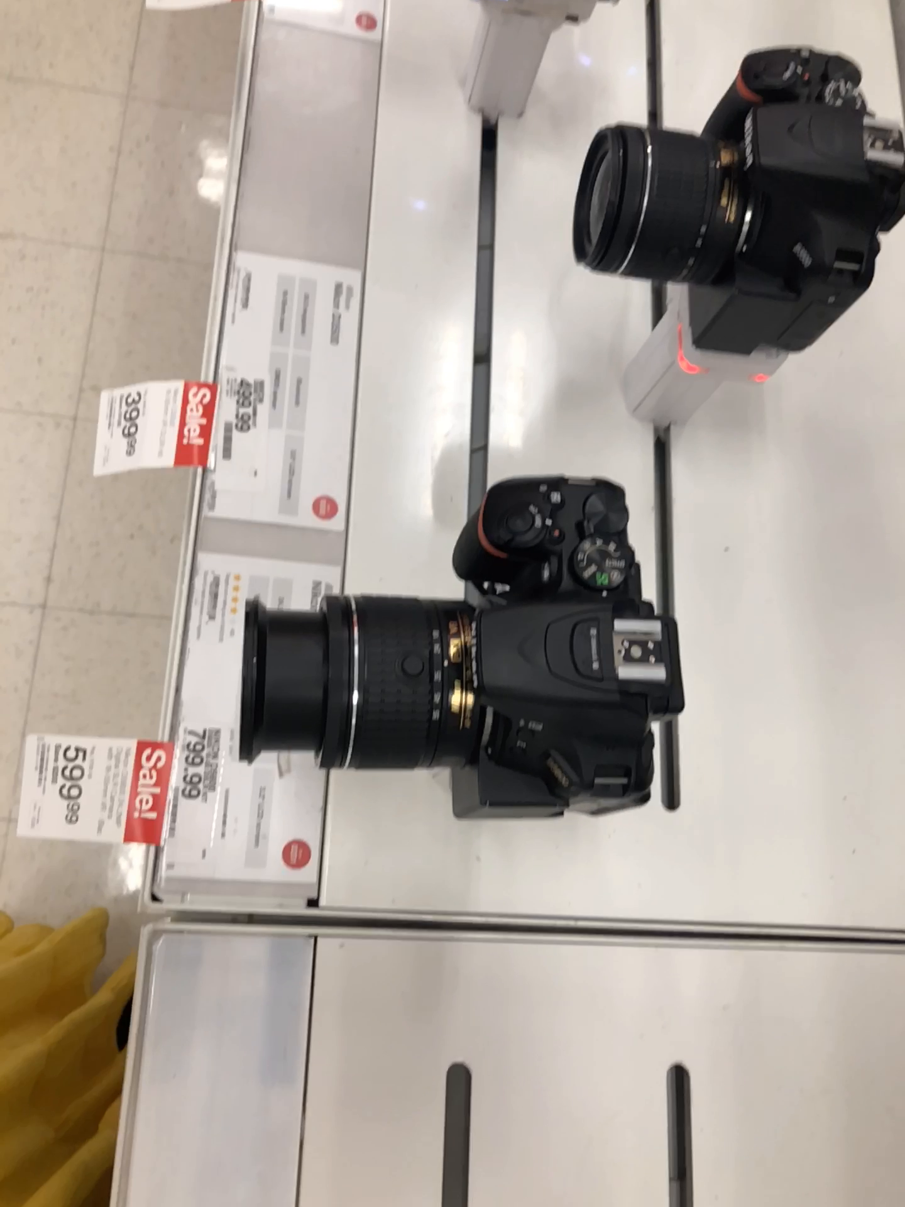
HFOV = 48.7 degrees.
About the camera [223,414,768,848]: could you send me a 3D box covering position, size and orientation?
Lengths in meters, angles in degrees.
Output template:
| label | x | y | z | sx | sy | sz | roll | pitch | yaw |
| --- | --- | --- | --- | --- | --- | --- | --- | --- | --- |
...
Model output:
| label | x | y | z | sx | sy | sz | roll | pitch | yaw |
| --- | --- | --- | --- | --- | --- | --- | --- | --- | --- |
| camera | 0.010 | 0.018 | 0.366 | 0.170 | 0.090 | 0.130 | 4 | 73 | -10 |
